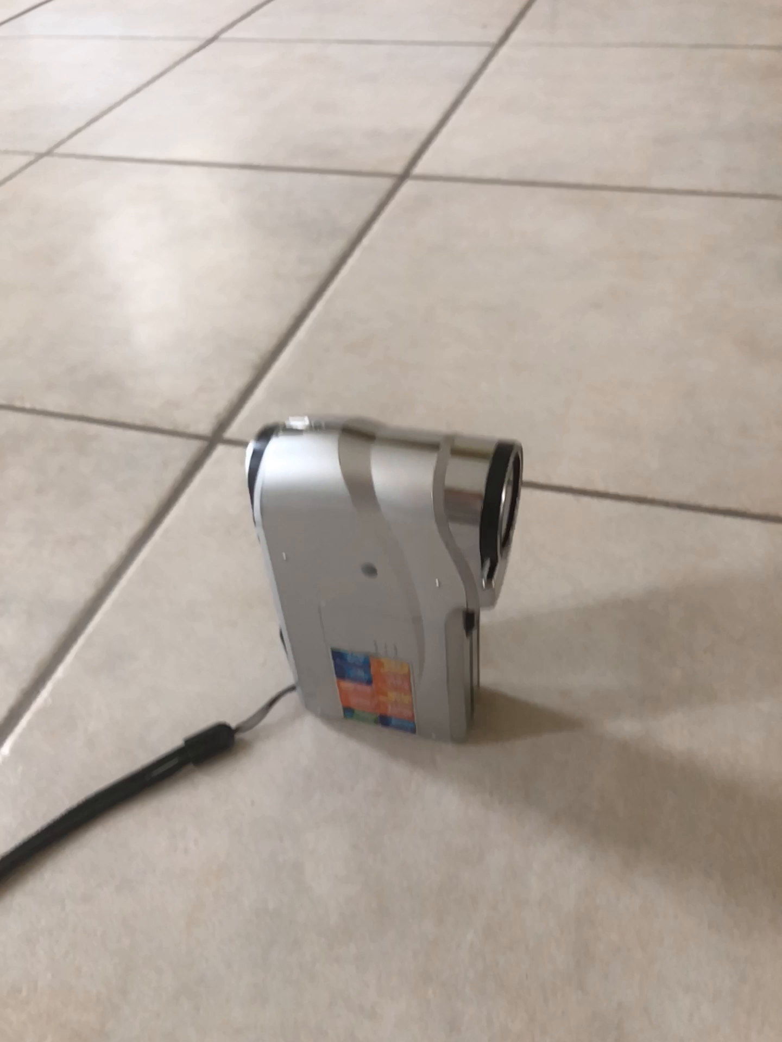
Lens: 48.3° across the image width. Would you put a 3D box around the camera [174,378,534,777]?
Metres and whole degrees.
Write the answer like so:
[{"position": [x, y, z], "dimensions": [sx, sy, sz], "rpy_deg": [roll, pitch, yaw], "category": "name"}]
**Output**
[{"position": [-0.004, 0.019, 0.250], "dimensions": [0.080, 0.109, 0.040], "rpy_deg": [7, 45, 14], "category": "camera"}]
